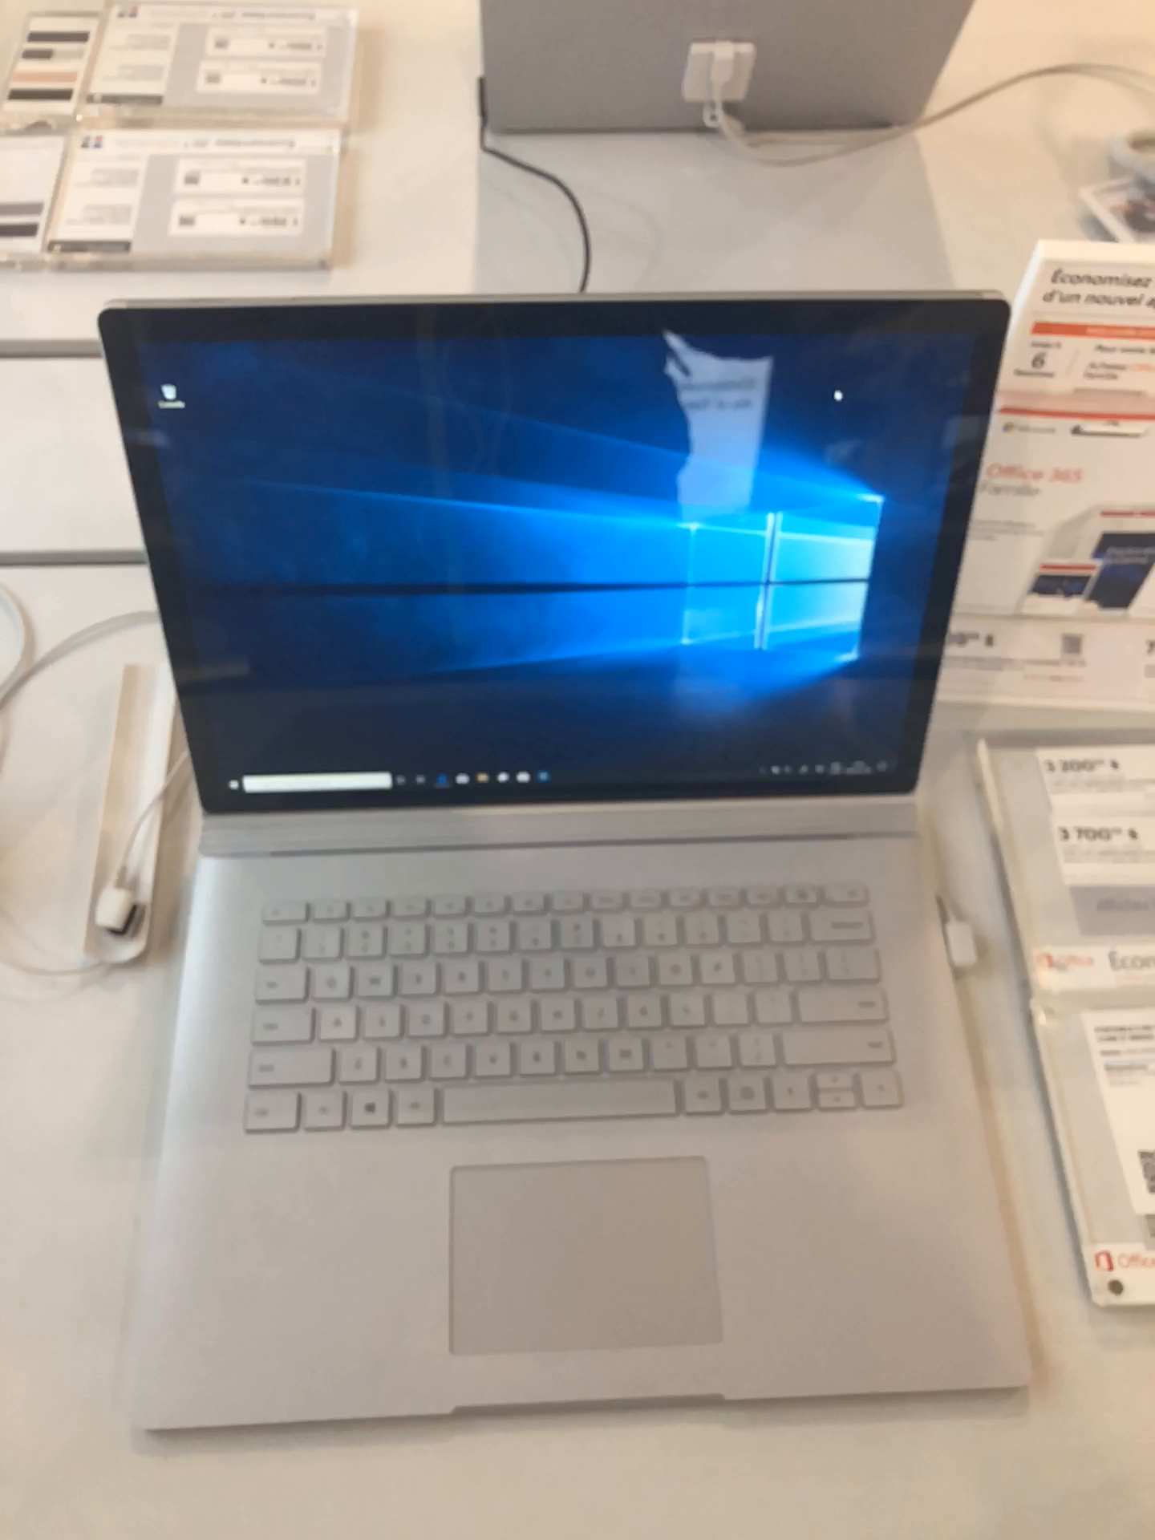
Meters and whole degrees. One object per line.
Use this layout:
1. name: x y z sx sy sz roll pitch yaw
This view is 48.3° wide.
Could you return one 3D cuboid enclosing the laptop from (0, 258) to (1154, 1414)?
1. laptop: -0.003 0.024 0.488 0.338 0.207 0.365 -1 62 -3
